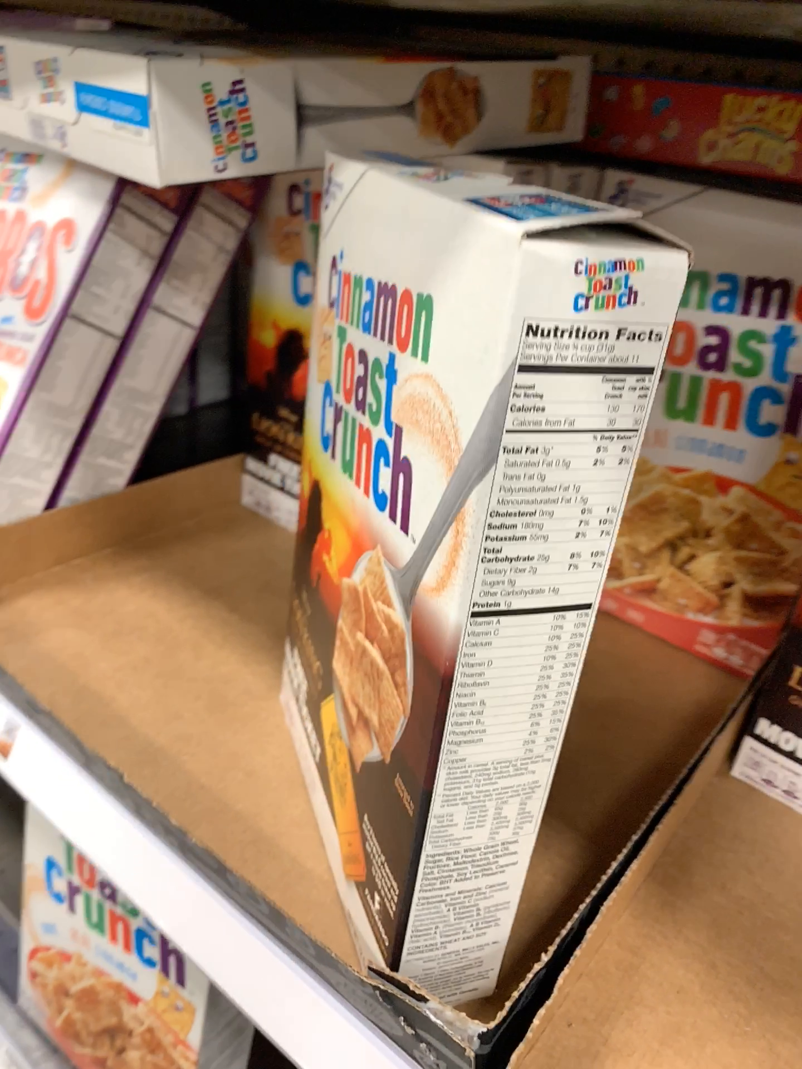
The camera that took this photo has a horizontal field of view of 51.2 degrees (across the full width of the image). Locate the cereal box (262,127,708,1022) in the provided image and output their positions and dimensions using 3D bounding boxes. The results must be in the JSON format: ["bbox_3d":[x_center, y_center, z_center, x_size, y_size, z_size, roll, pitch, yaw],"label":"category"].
[{"bbox_3d":[-0.002,0.005,0.326,0.060,0.279,0.191,-3,29,-19],"label":"cereal box"}]
